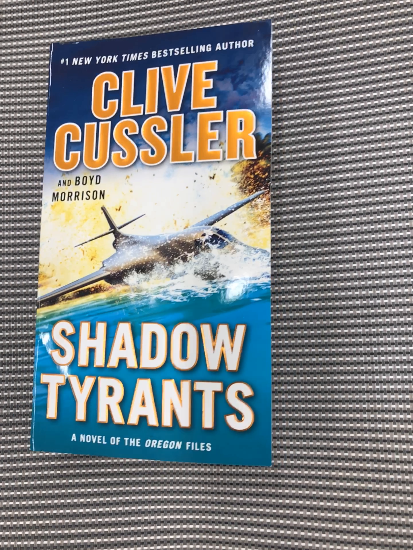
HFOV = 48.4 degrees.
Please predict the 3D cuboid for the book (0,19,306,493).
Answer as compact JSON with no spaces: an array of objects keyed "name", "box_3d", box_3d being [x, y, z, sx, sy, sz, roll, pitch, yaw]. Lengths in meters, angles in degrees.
[{"name":"book","box_3d":[-0.018,-0.010,0.212,0.120,0.060,0.180,1,84,9]}]
